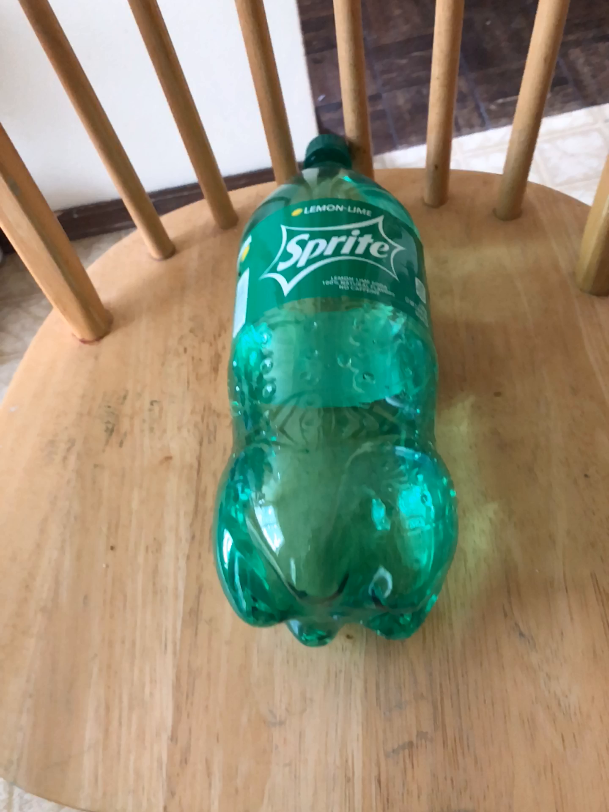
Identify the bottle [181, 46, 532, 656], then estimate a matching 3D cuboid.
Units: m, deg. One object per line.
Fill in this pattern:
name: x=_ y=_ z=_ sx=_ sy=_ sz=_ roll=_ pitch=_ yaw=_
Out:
bottle: x=0.012 y=-0.044 z=0.340 sx=0.110 sy=0.110 sz=0.300 roll=0 pitch=57 yaw=-2
